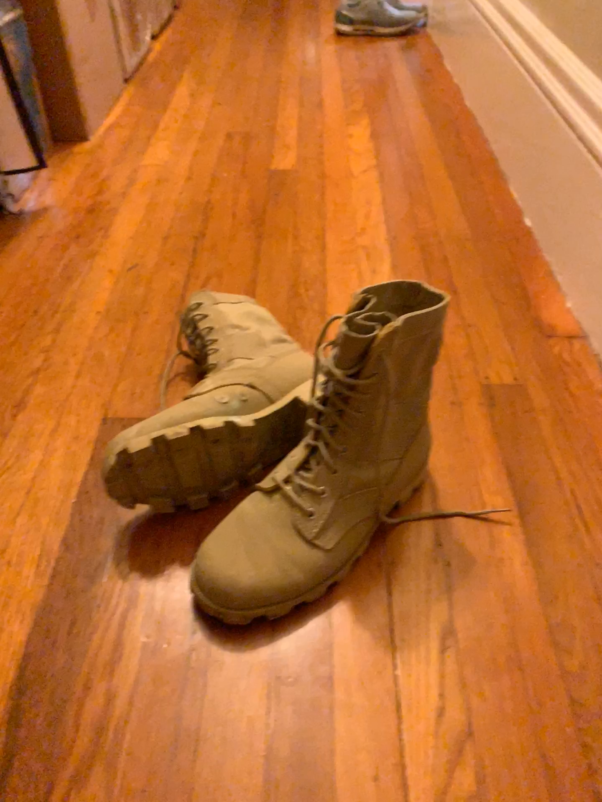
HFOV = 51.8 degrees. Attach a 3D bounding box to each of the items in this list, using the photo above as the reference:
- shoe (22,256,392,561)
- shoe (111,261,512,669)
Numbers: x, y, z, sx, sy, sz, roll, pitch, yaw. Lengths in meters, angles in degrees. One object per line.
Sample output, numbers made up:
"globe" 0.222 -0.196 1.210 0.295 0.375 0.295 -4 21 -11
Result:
"shoe" -0.098 -0.020 0.676 0.290 0.109 0.261 -30 44 -27
"shoe" 0.020 0.043 0.526 0.290 0.199 0.121 -31 51 -28
